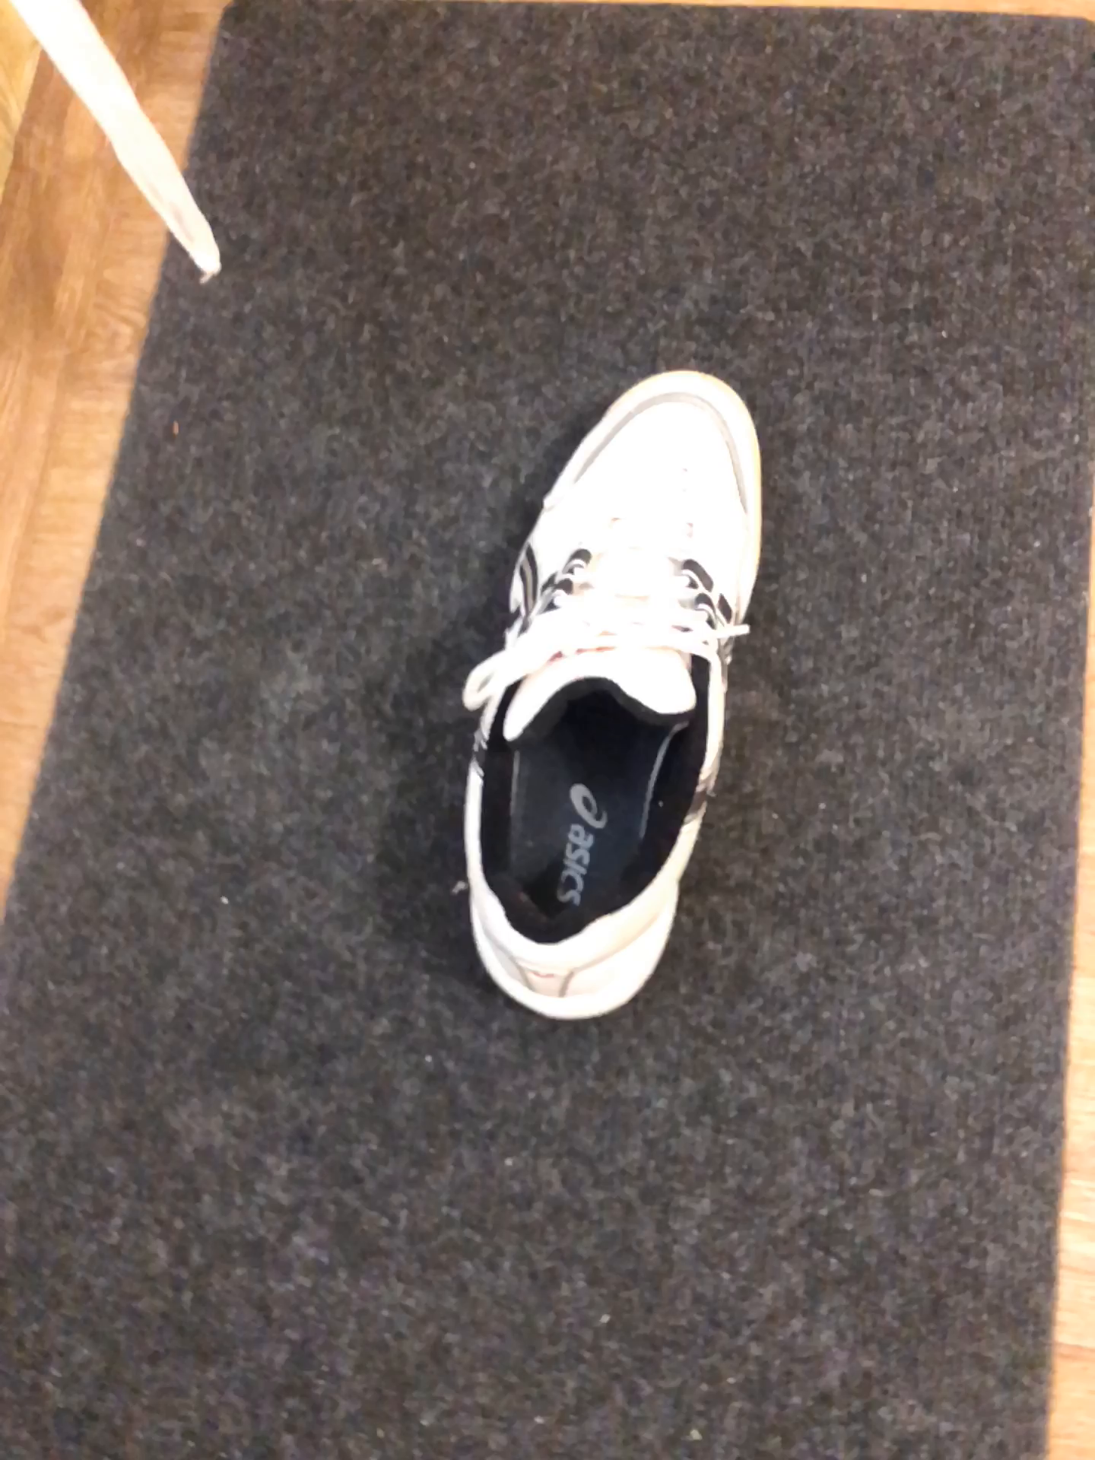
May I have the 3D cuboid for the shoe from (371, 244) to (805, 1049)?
[{"bbox_3d":[0.024,-0.030,0.469,0.100,0.100,0.280,9,77,10],"label":"shoe"}]
